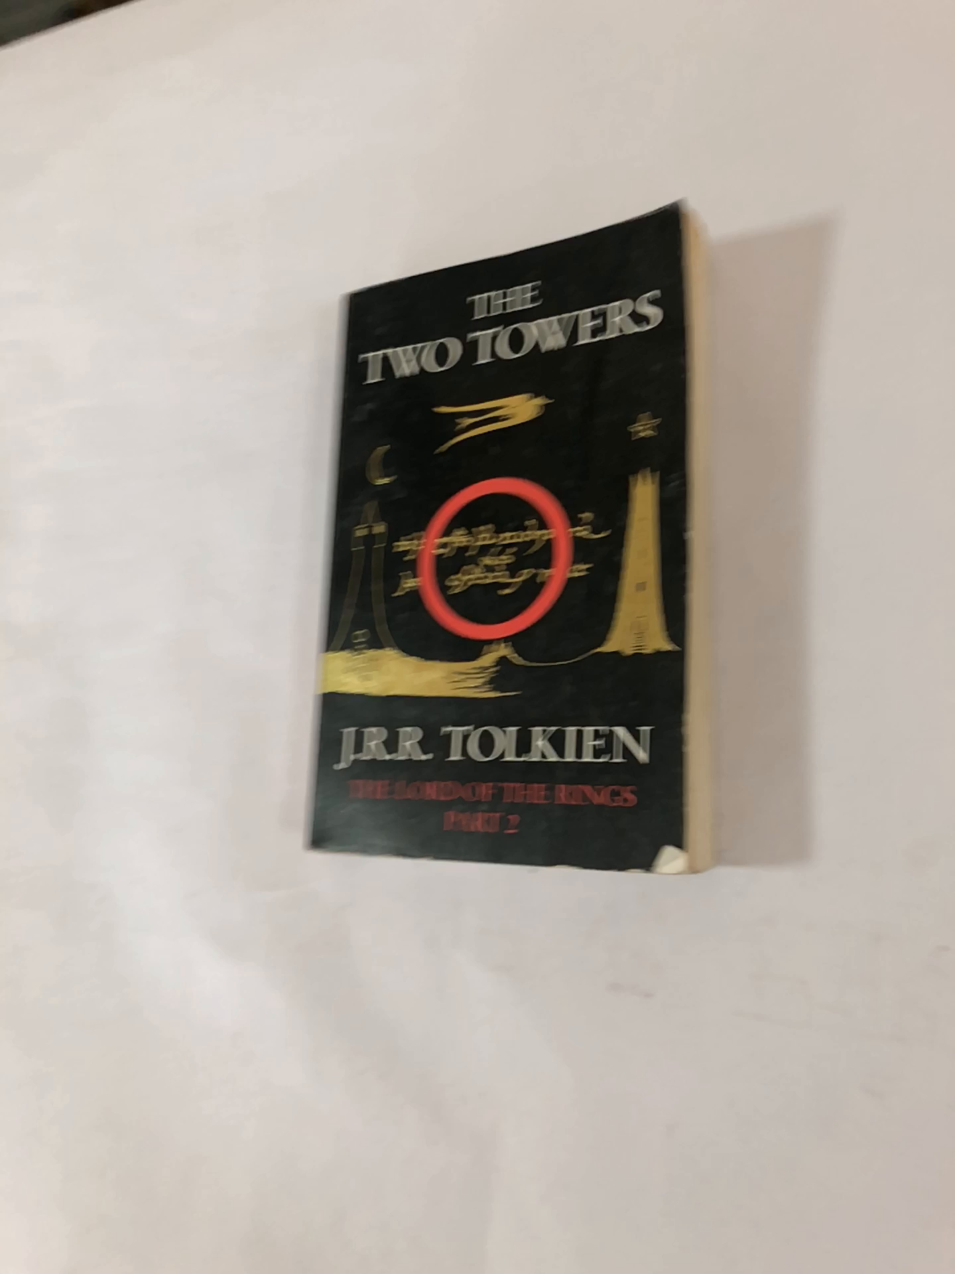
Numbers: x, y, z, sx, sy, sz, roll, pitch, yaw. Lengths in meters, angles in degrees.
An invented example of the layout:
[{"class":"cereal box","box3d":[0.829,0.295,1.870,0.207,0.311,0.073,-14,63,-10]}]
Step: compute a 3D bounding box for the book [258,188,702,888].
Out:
[{"class":"book","box3d":[0.001,-0.027,0.334,0.131,0.030,0.200,-3,77,25]}]
